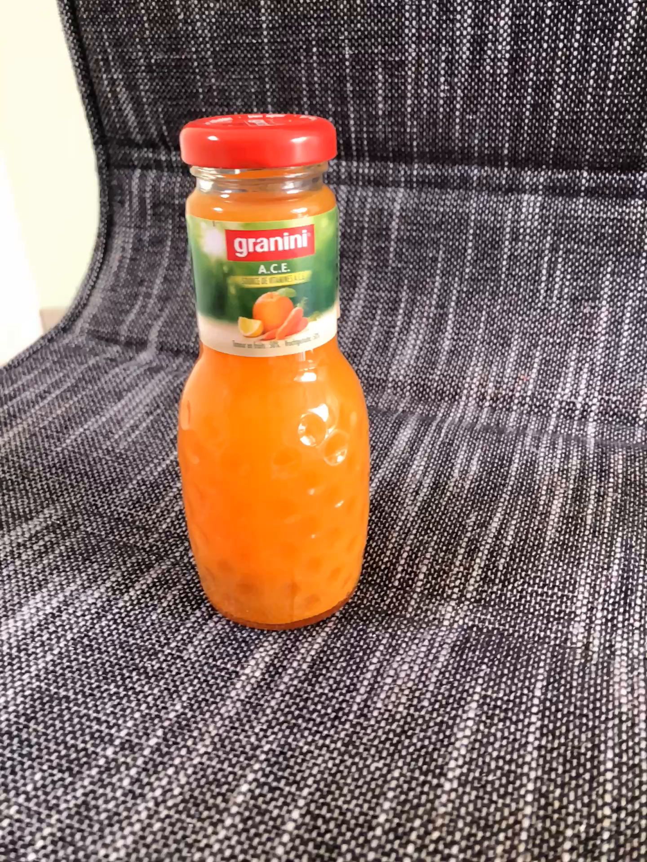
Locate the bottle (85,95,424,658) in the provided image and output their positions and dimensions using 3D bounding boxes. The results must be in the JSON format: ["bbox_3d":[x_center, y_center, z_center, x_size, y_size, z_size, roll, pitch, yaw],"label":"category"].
[{"bbox_3d":[-0.015,-0.013,0.212,0.070,0.149,0.060,-5,30,-5],"label":"bottle"}]
